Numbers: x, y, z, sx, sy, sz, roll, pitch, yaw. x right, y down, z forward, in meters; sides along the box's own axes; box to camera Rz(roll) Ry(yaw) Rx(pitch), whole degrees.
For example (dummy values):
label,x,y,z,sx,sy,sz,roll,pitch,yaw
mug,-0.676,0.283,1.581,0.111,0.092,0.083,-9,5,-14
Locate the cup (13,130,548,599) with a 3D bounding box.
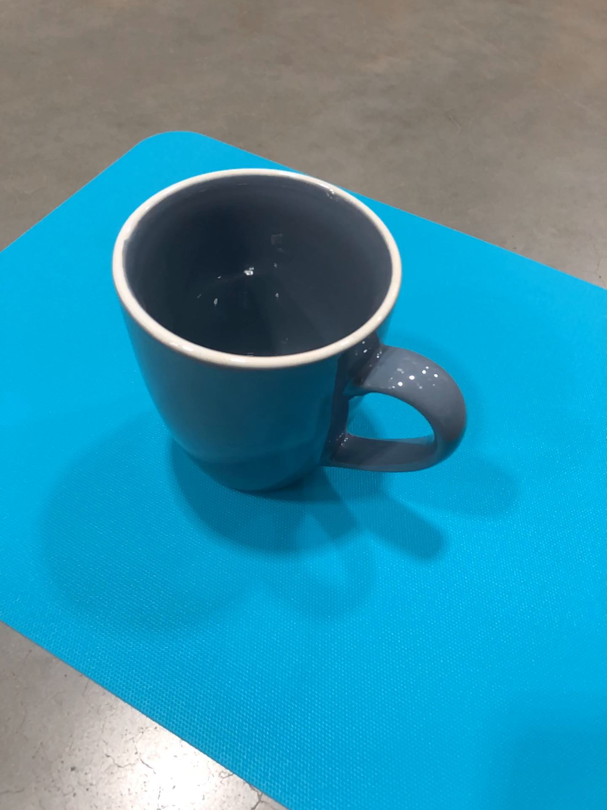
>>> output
label,x,y,z,sx,sy,sz,roll,pitch,yaw
cup,-0.005,-0.016,0.230,0.130,0.080,0.090,23,55,13
